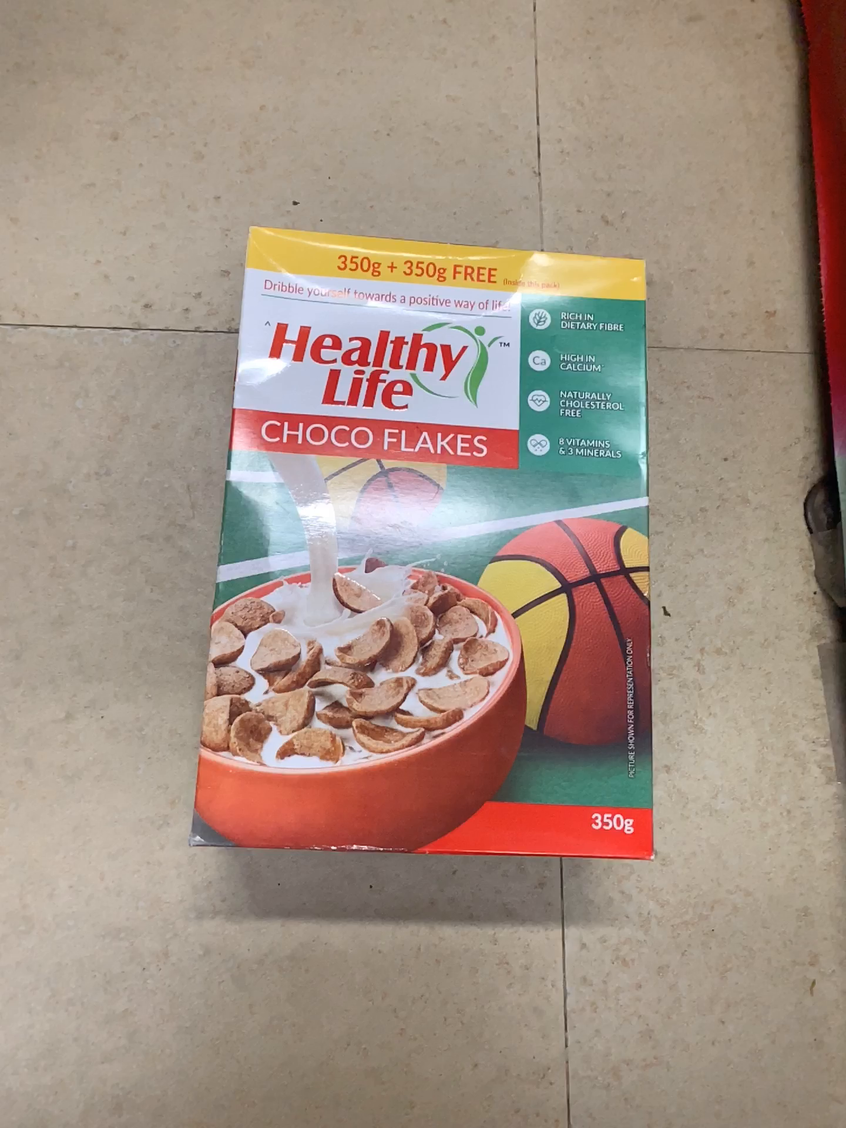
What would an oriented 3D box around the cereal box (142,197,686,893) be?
[{"bbox_3d":[-0.001,-0.005,0.403,0.200,0.110,0.280,3,76,-4],"label":"cereal box"}]
